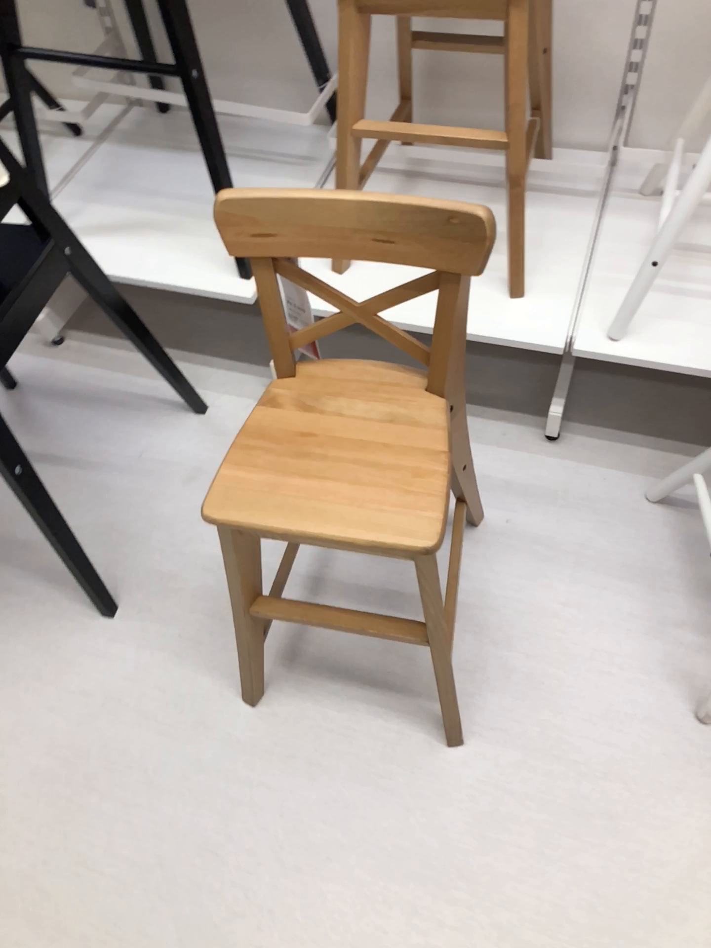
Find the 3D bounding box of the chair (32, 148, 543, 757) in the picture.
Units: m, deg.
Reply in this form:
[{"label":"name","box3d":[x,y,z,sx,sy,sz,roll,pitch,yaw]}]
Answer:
[{"label":"chair","box3d":[-0.009,0.015,1.025,0.390,0.676,0.432,9,56,13]}]
